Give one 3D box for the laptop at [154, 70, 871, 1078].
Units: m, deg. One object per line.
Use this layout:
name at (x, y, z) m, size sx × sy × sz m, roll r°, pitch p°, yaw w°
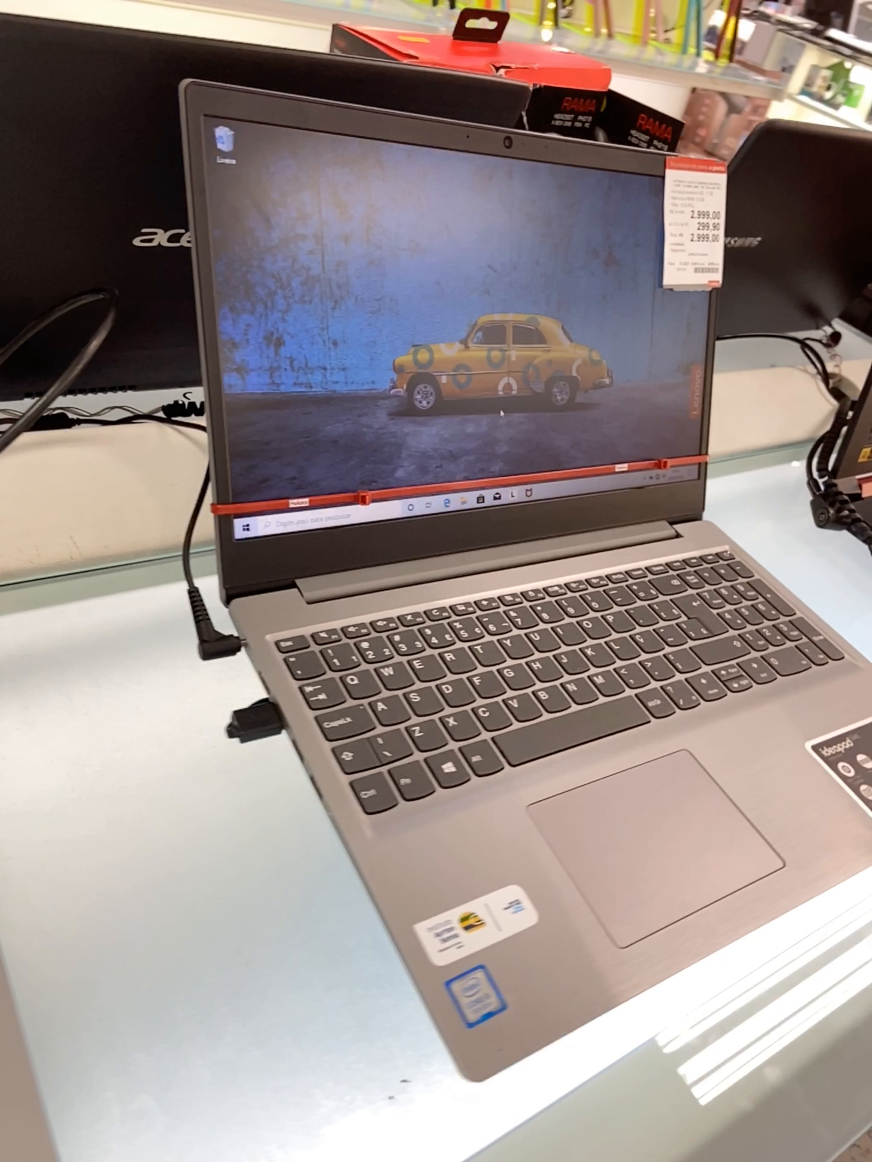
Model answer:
laptop at (0.099, -0.059, 0.456) m, size 0.369 × 0.209 × 0.380 m, roll -10°, pitch 46°, yaw -31°
